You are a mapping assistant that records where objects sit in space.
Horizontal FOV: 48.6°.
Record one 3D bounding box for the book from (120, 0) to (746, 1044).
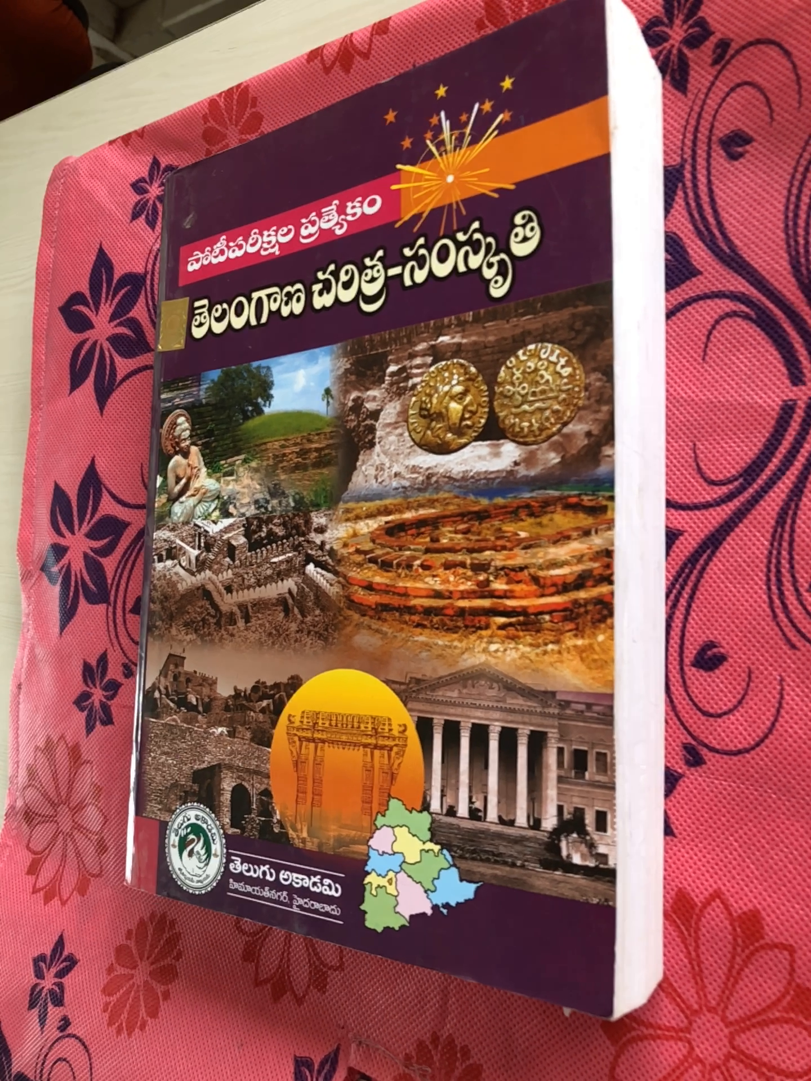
[{"bbox_3d":[-0.001,-0.018,0.297,0.201,0.050,0.280,-4,81,35],"label":"book"}]
